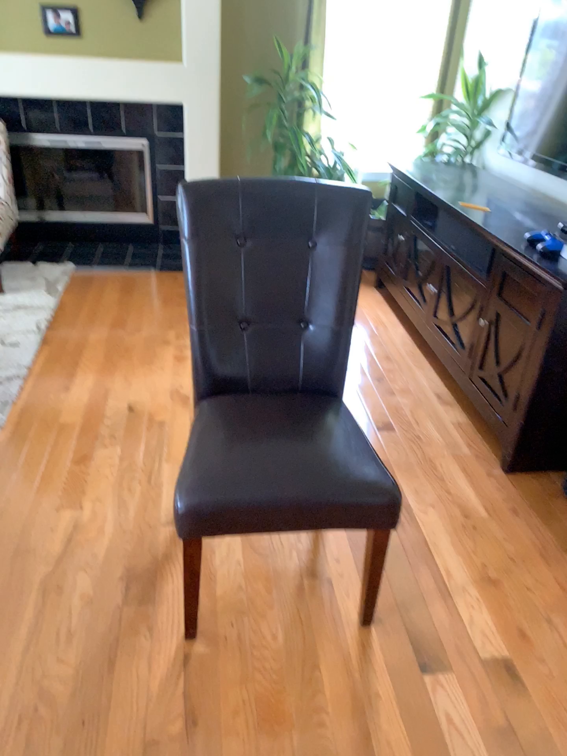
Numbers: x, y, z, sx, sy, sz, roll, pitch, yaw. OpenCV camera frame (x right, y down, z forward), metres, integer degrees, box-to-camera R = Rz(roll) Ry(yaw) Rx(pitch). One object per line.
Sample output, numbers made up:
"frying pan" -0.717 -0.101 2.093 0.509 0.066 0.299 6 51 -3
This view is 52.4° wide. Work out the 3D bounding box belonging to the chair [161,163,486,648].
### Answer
"chair" 0.002 0.038 1.485 0.537 0.977 0.727 0 30 -8
